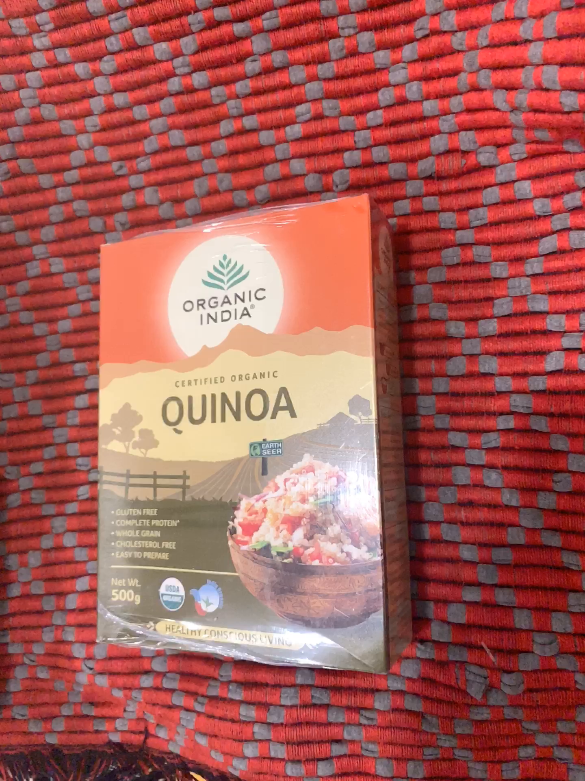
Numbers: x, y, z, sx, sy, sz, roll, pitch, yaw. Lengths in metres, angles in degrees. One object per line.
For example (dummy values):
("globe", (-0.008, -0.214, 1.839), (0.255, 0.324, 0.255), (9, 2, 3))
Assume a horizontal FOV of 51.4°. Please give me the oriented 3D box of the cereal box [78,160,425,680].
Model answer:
("cereal box", (-0.018, 0.013, 0.267), (0.130, 0.070, 0.180), (-4, 85, 22))
